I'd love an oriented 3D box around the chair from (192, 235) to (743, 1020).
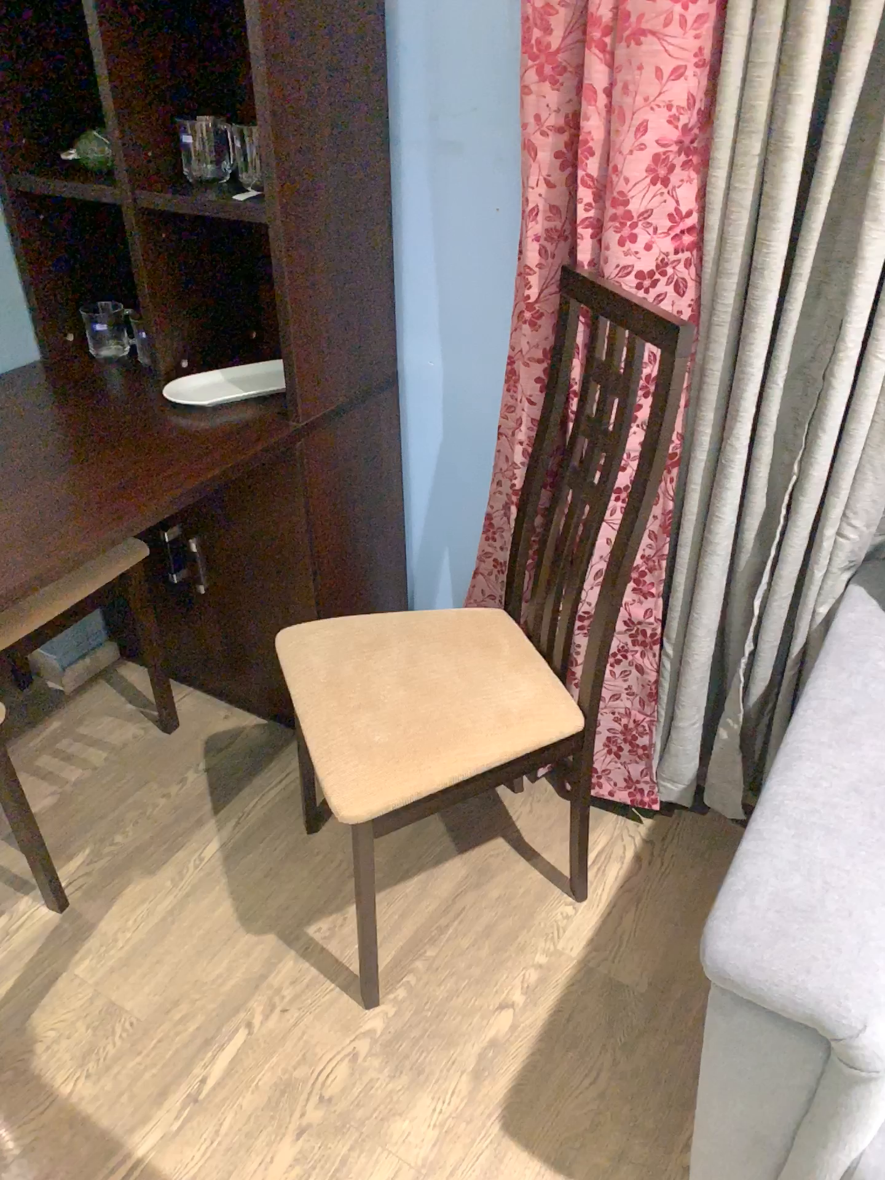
[{"bbox_3d":[-0.003,0.049,1.373,0.510,0.976,0.532,-13,35,-18],"label":"chair"}]
